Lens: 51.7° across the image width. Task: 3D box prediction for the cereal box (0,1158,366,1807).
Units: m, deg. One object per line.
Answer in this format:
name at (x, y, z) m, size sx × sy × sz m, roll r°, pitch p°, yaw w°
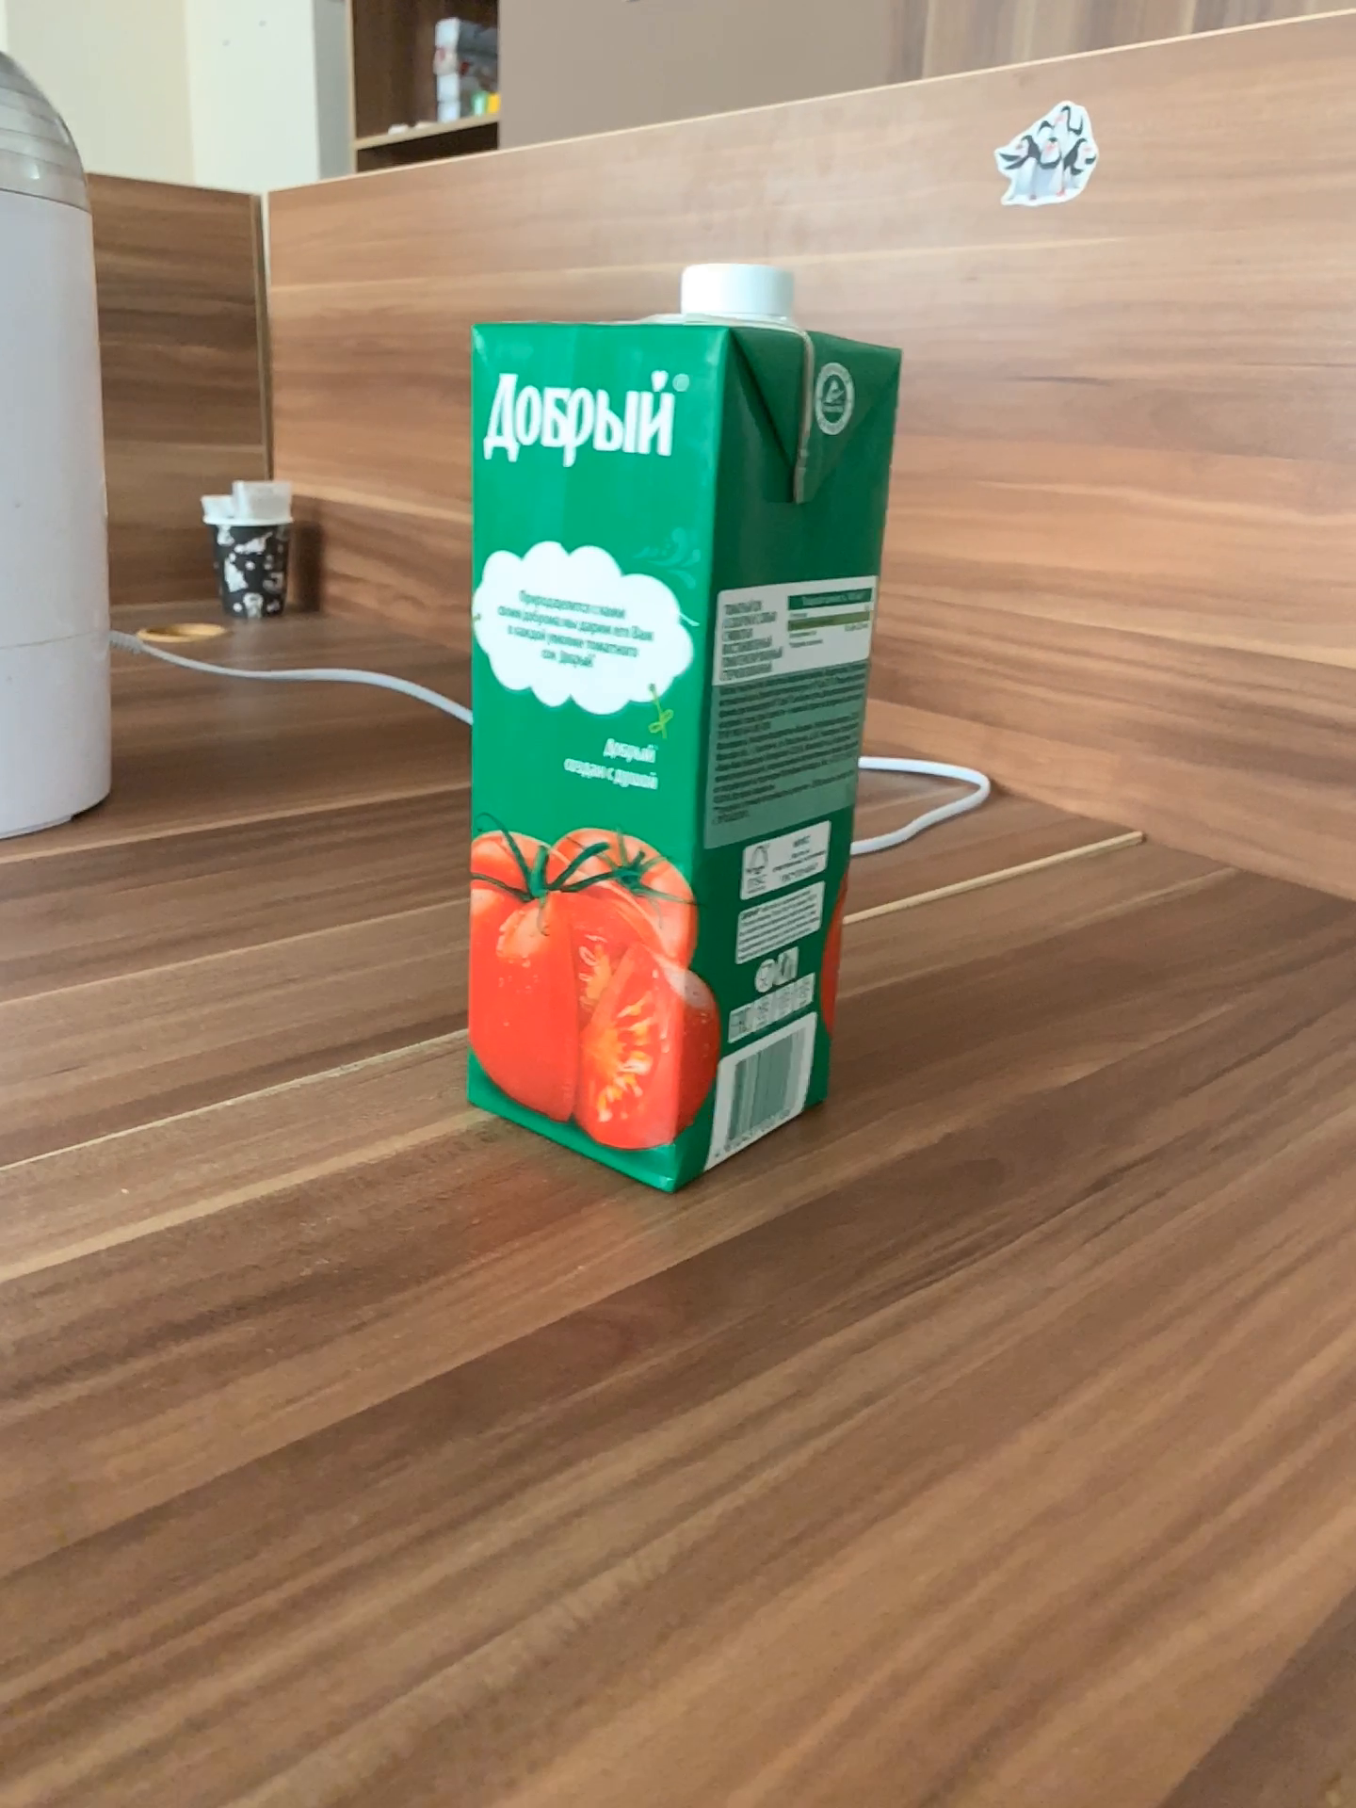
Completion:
cereal box at (-0.453, 0.595, 0.206) m, size 0.590 × 0.837 × 0.612 m, roll 6°, pitch 19°, yaw 8°
